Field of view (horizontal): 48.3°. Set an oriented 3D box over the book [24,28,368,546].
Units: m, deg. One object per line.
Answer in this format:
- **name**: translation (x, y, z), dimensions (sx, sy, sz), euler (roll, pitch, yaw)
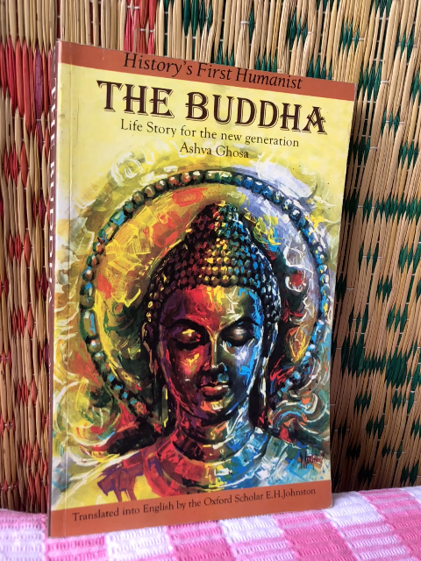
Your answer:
- **book**: translation (-0.005, 0.006, 0.219), dimensions (0.146, 0.207, 0.030), euler (2, 3, -15)
